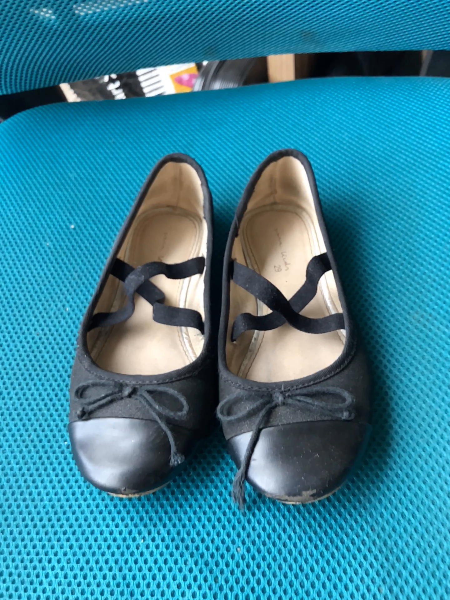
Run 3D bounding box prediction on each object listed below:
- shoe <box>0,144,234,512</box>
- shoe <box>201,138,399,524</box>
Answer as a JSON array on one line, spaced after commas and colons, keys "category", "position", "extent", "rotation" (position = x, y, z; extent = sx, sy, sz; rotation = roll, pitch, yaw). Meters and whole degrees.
[{"category": "shoe", "position": [-0.041, 0.003, 0.268], "extent": [0.080, 0.050, 0.194], "rotation": [-2, 55, 7]}, {"category": "shoe", "position": [0.030, 0.004, 0.251], "extent": [0.068, 0.050, 0.191], "rotation": [-3, 55, 6]}]
